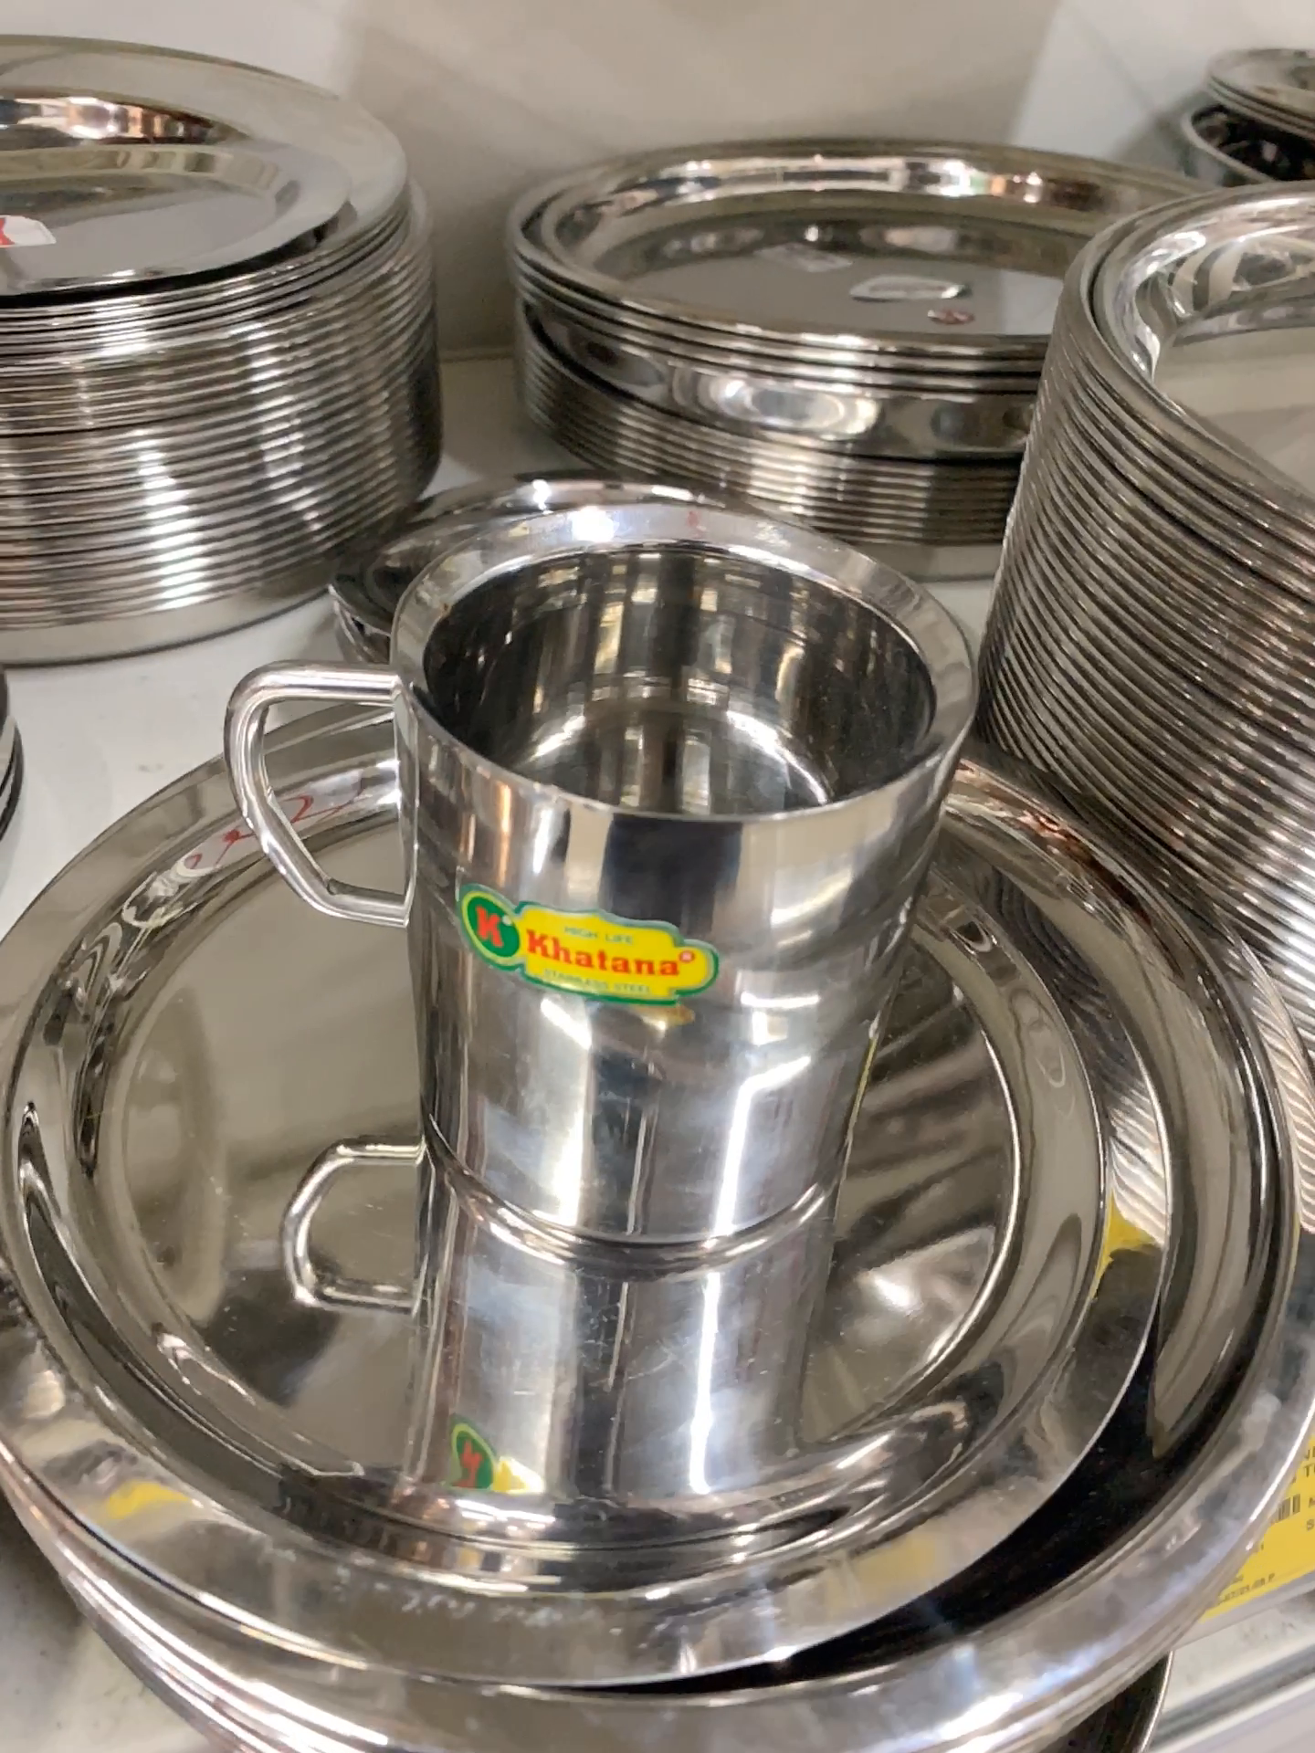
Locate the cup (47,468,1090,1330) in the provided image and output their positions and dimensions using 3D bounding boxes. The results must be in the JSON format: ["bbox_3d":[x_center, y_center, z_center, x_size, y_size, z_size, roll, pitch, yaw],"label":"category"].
[{"bbox_3d":[-0.009,0.002,0.203,0.110,0.090,0.080,4,40,1],"label":"cup"}]
